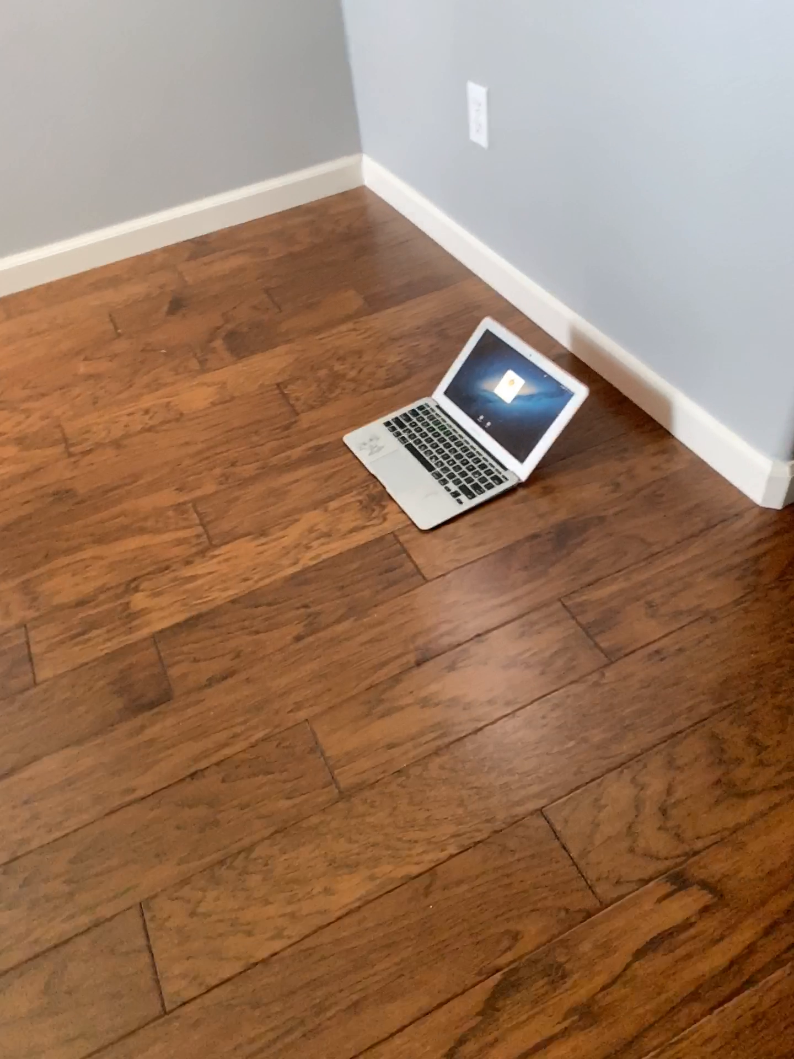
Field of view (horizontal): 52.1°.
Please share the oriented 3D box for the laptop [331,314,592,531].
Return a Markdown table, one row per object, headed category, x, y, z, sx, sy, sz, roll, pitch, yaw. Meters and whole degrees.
| category | x | y | z | sx | sy | sz | roll | pitch | yaw |
| --- | --- | --- | --- | --- | --- | --- | --- | --- | --- |
| laptop | 0.102 | -0.193 | 1.366 | 0.322 | 0.117 | 0.294 | -26 | 46 | -14 |
